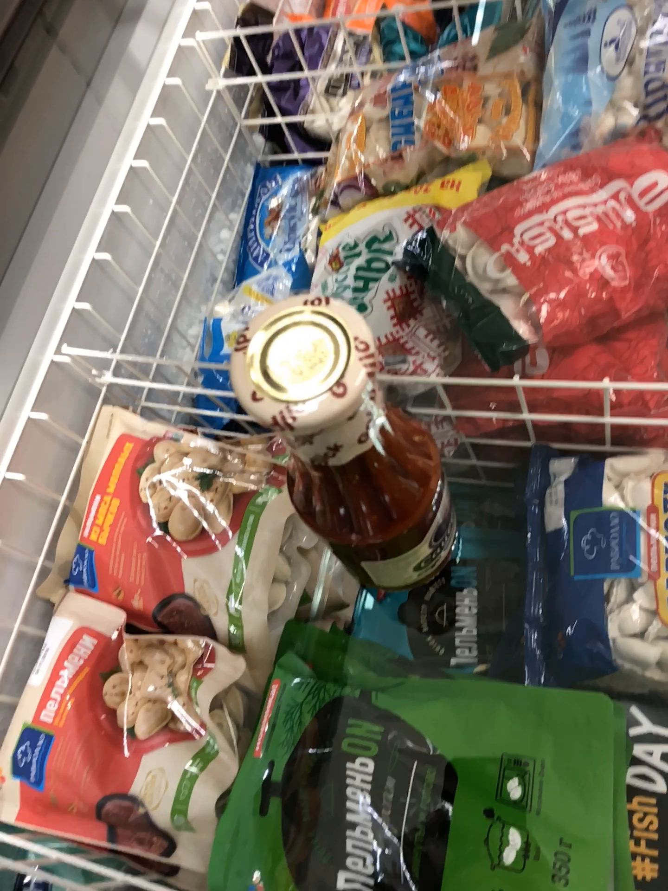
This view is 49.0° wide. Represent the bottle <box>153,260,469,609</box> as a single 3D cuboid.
[{"bbox_3d":[0.008,0.009,0.303,0.070,0.179,0.070,-6,66,13],"label":"bottle"}]
